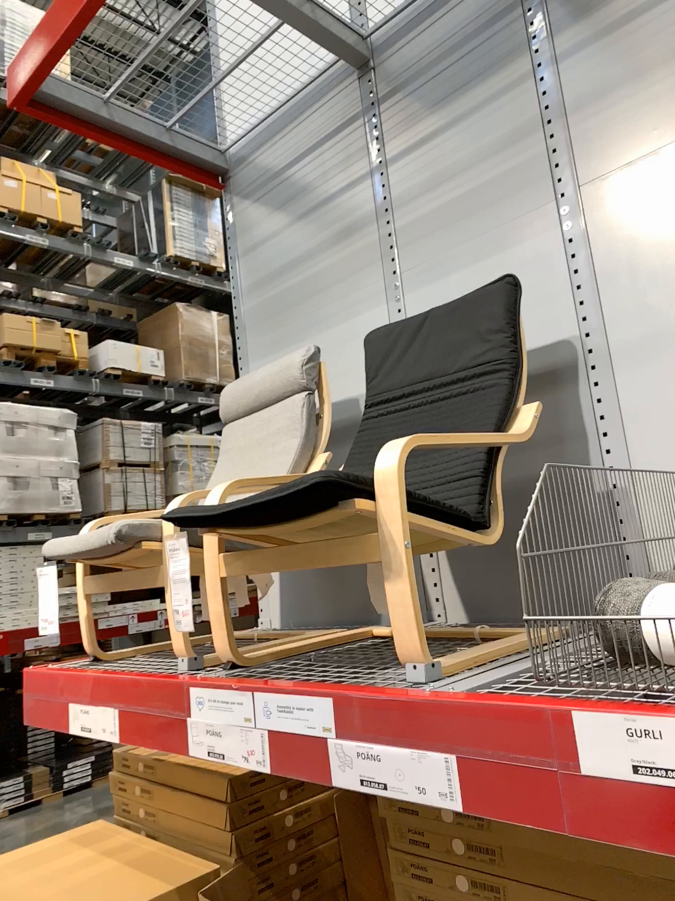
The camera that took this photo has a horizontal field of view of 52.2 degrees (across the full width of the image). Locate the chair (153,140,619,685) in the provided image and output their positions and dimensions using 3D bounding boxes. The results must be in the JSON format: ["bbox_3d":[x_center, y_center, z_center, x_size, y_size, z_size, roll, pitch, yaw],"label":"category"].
[{"bbox_3d":[0.116,-0.016,1.788,0.720,1.013,0.838,-15,-13,42],"label":"chair"}]
